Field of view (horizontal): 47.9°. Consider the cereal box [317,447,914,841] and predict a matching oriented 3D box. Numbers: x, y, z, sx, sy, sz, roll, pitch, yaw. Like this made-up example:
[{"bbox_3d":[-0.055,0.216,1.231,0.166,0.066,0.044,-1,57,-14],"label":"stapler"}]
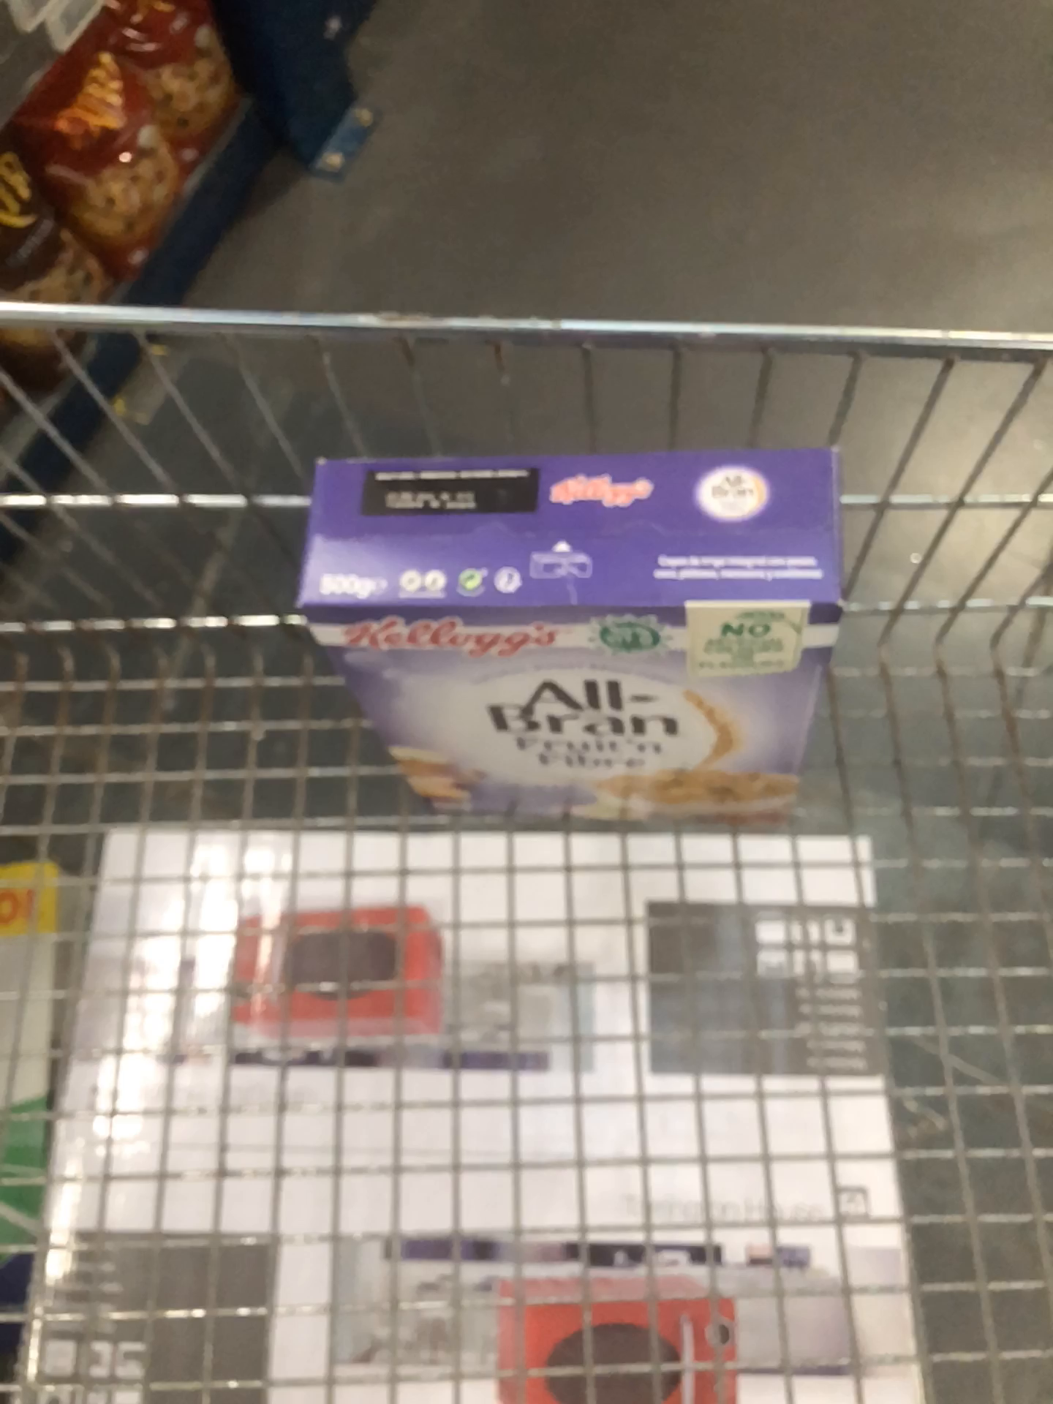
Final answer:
[{"bbox_3d":[0.042,-0.008,0.496,0.190,0.230,0.070,0,68,8],"label":"cereal box"}]
